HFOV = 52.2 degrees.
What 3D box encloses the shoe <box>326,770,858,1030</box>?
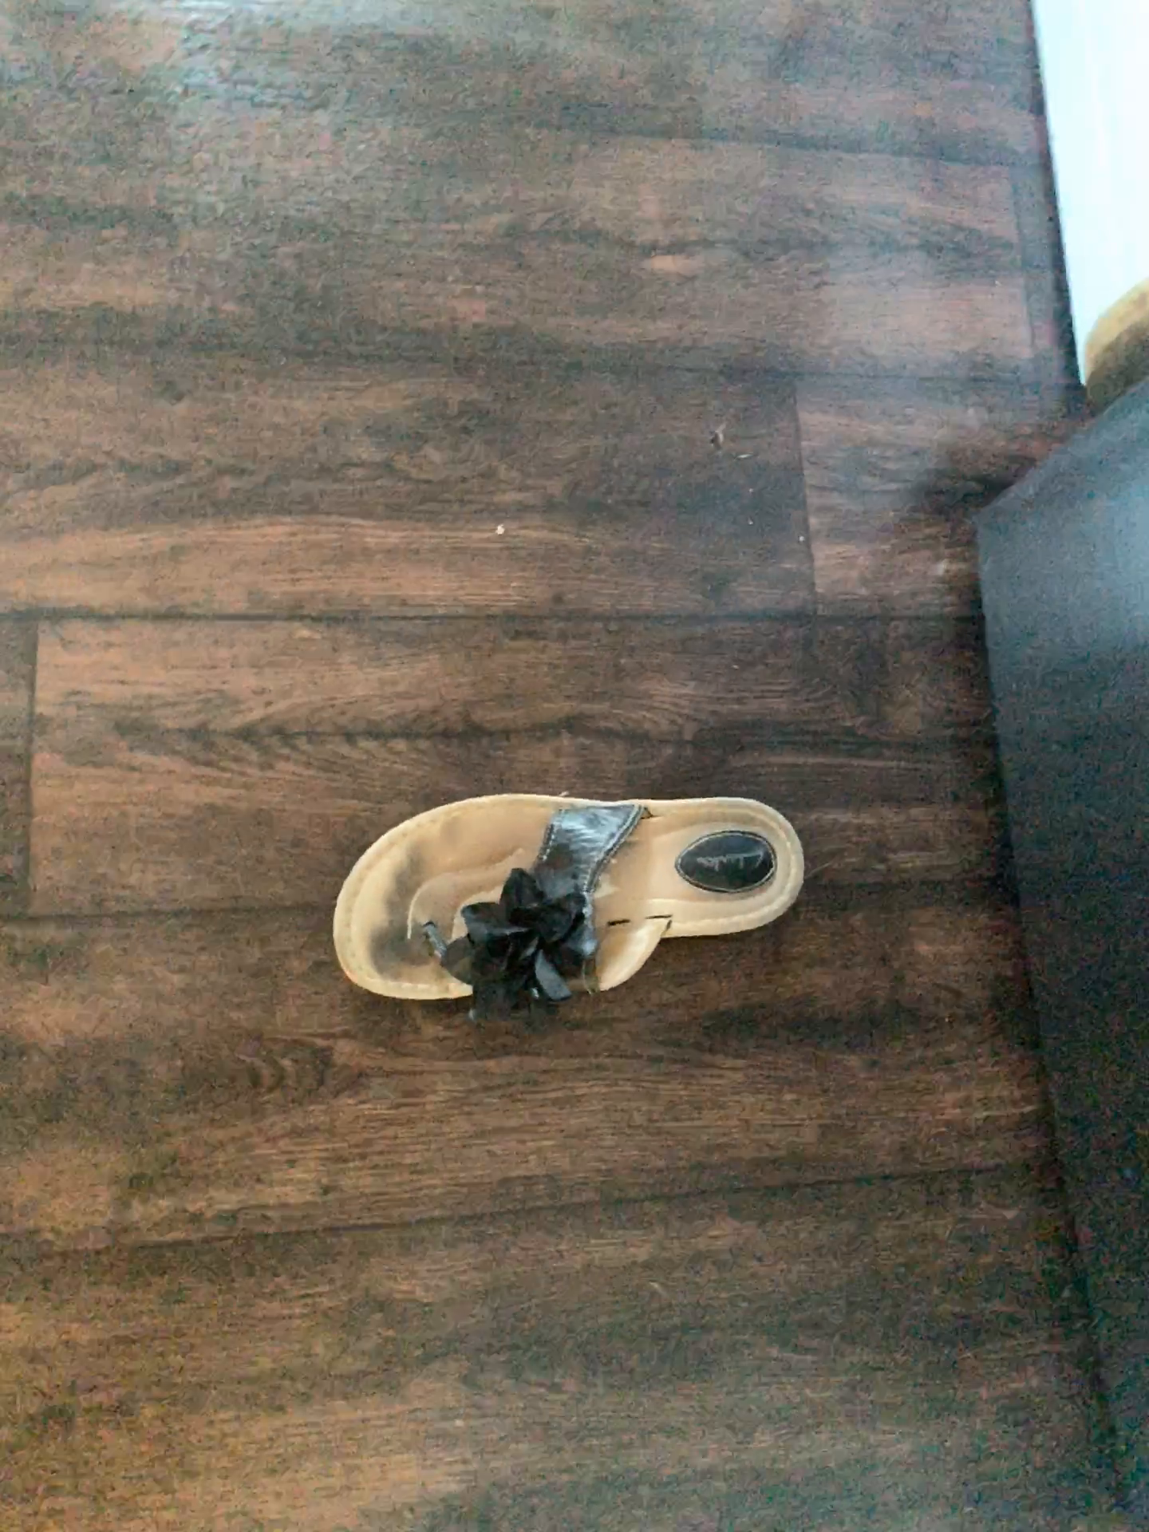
[{"bbox_3d":[0.007,0.065,0.581,0.250,0.050,0.110,-2,79,-10],"label":"shoe"}]
